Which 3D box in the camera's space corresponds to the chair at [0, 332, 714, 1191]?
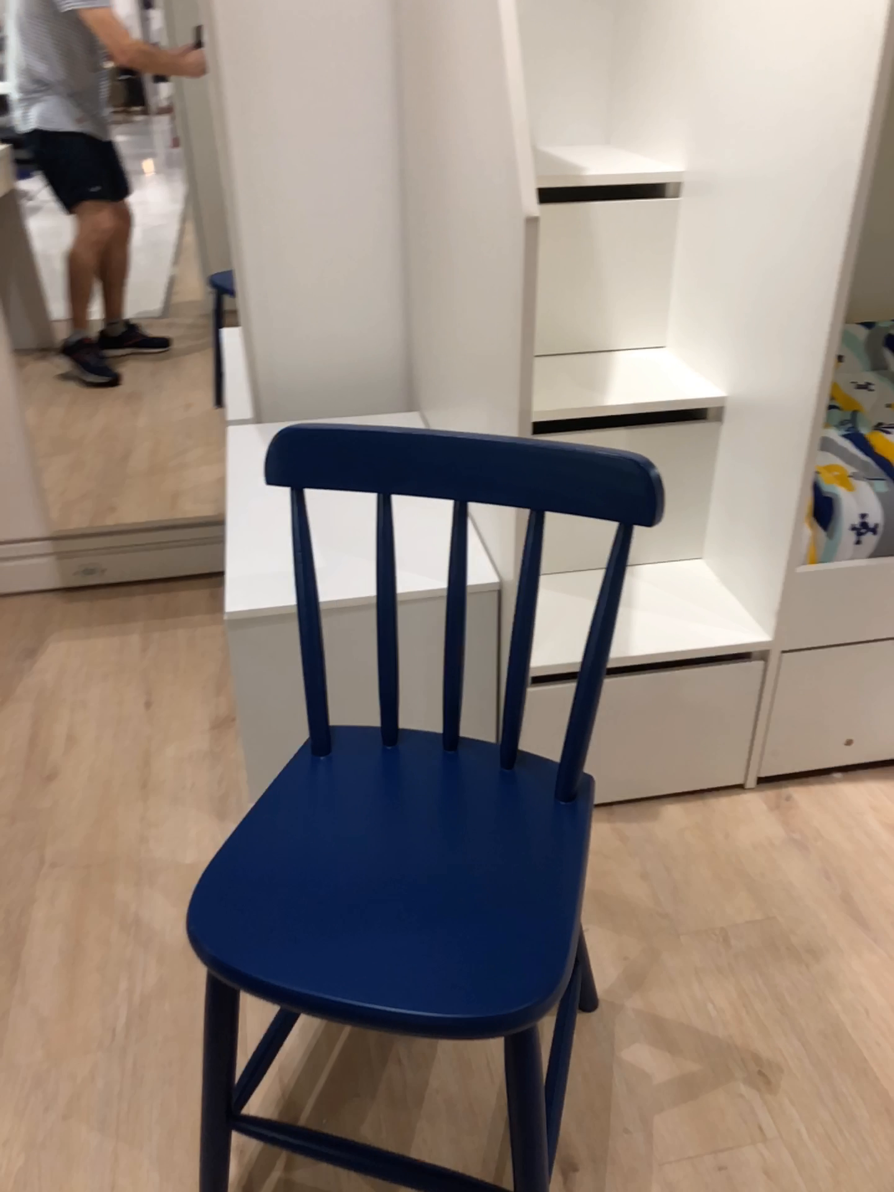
[{"bbox_3d":[-0.038,0.221,0.968,0.460,0.804,0.483,8,31,15],"label":"chair"}]
